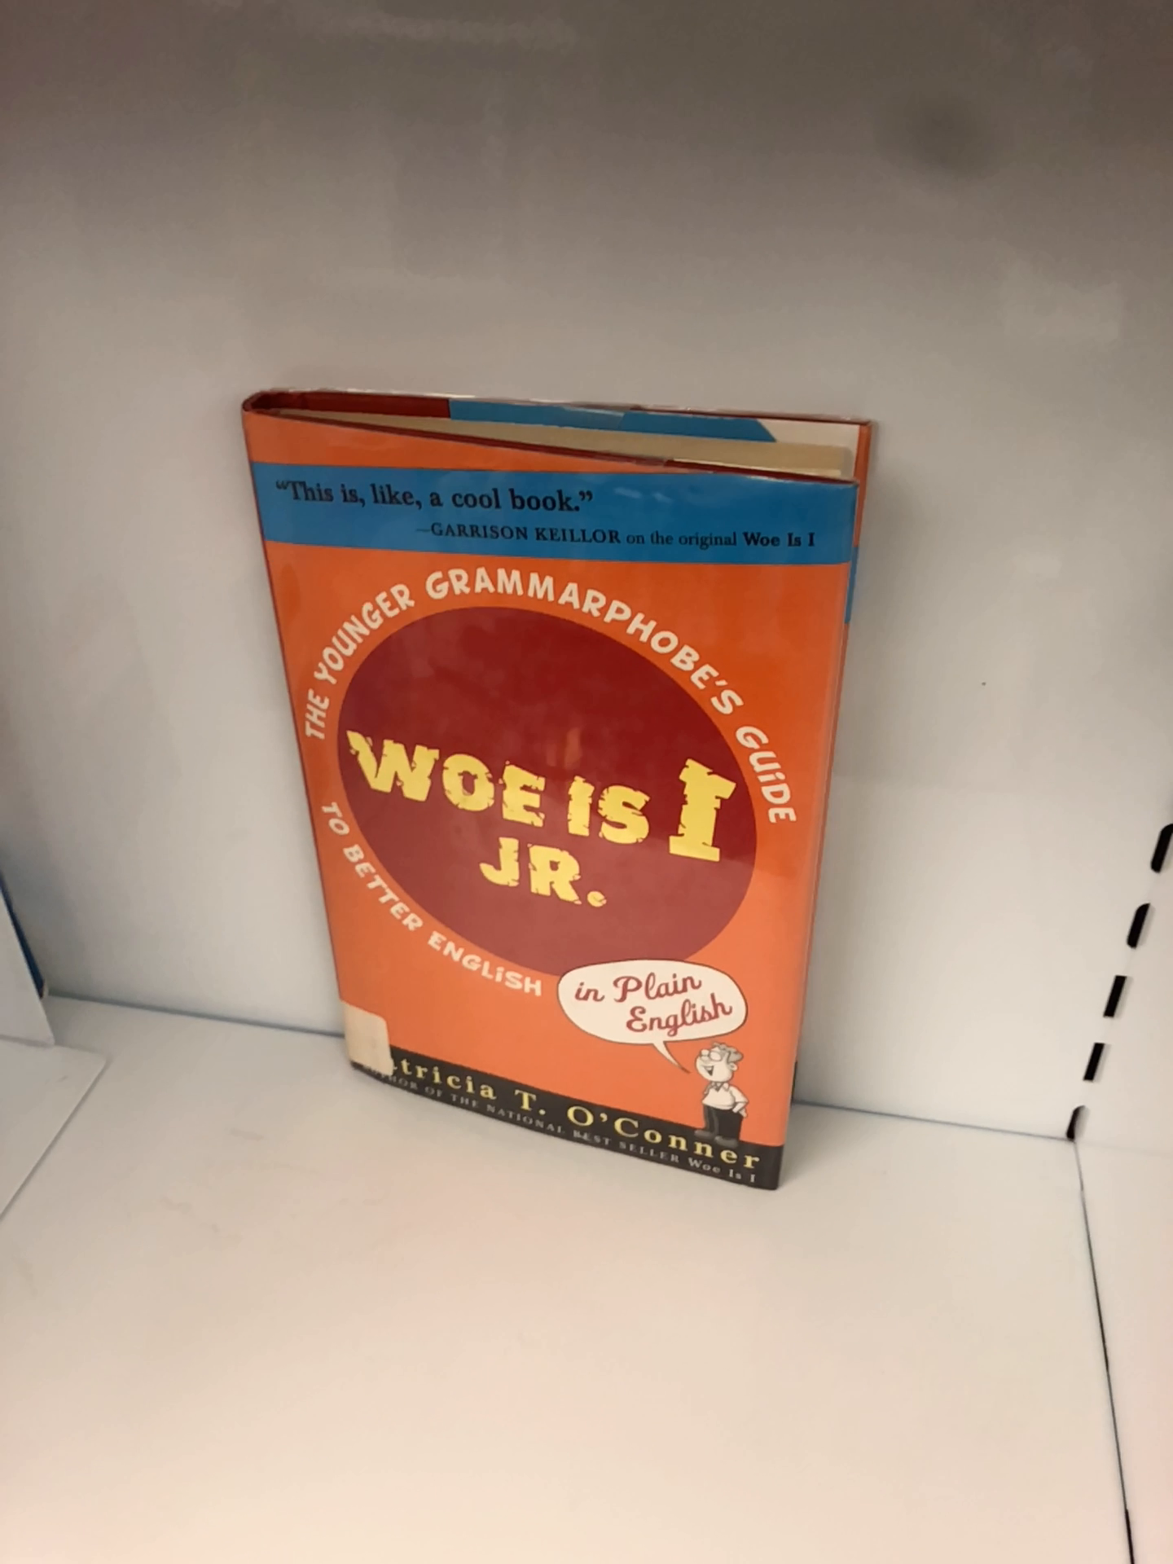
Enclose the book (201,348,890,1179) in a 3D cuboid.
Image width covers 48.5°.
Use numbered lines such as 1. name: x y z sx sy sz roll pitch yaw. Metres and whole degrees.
1. book: -0.008 0.003 0.322 0.137 0.199 0.038 7 34 12
